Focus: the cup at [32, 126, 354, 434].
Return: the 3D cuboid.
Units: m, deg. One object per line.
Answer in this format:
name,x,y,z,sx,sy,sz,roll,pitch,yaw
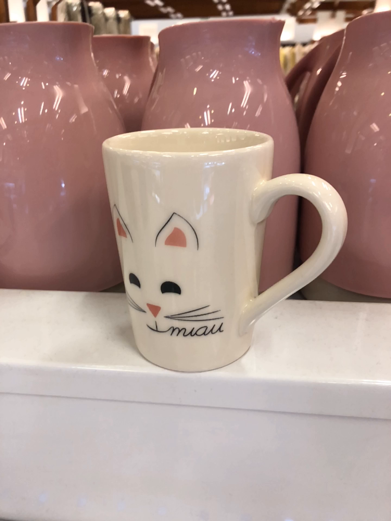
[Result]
cup,0.005,-0.003,0.201,0.110,0.099,0.080,9,25,23
